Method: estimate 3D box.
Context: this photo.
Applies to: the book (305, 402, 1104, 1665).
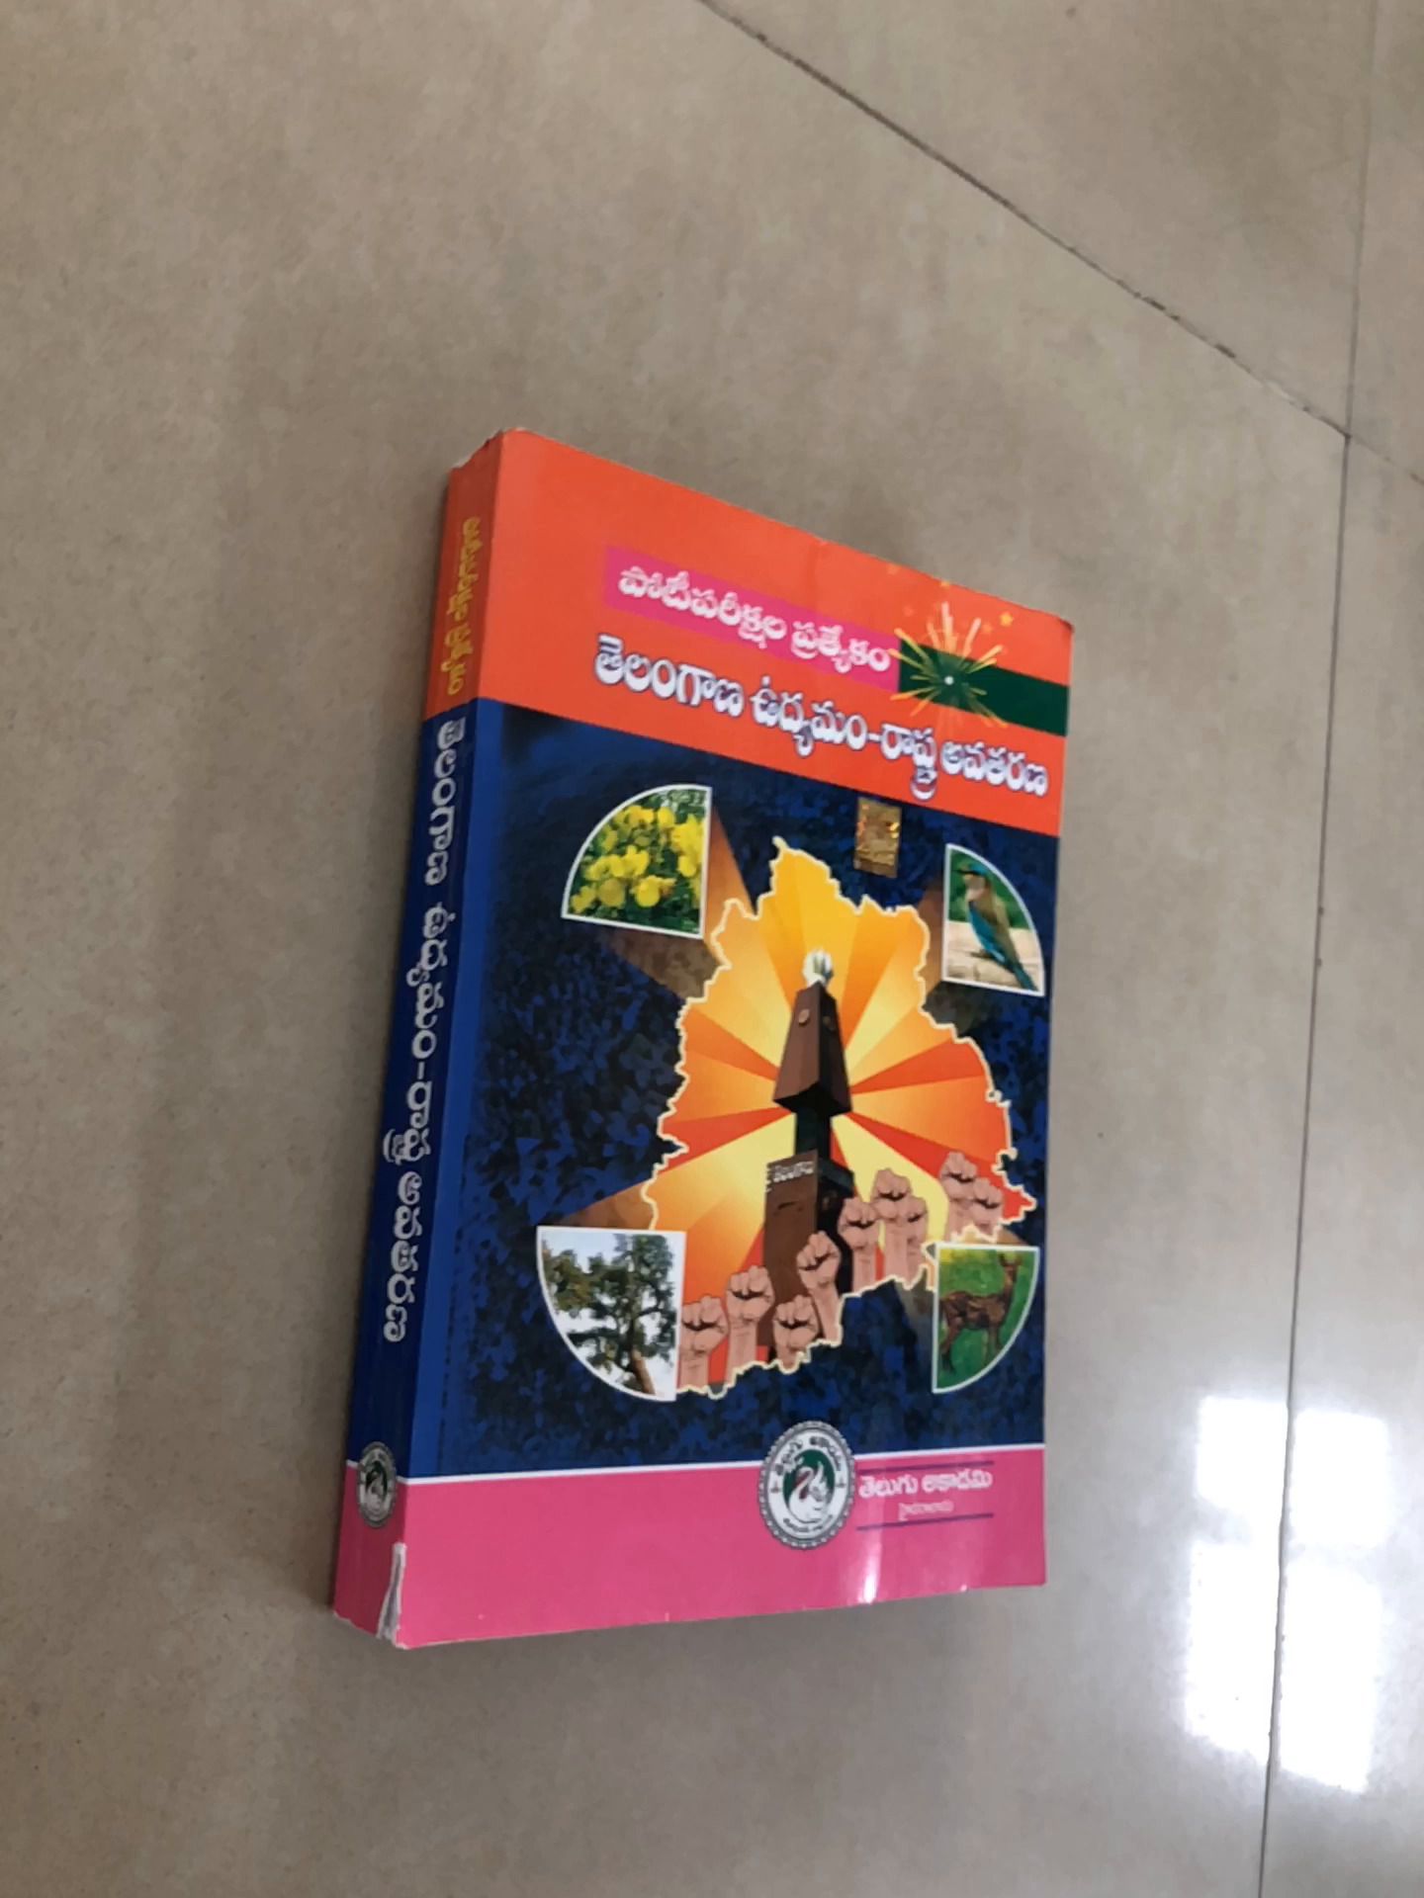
[{"bbox_3d":[0.014,0.024,0.400,0.202,0.040,0.265,9,78,-33],"label":"book"}]
